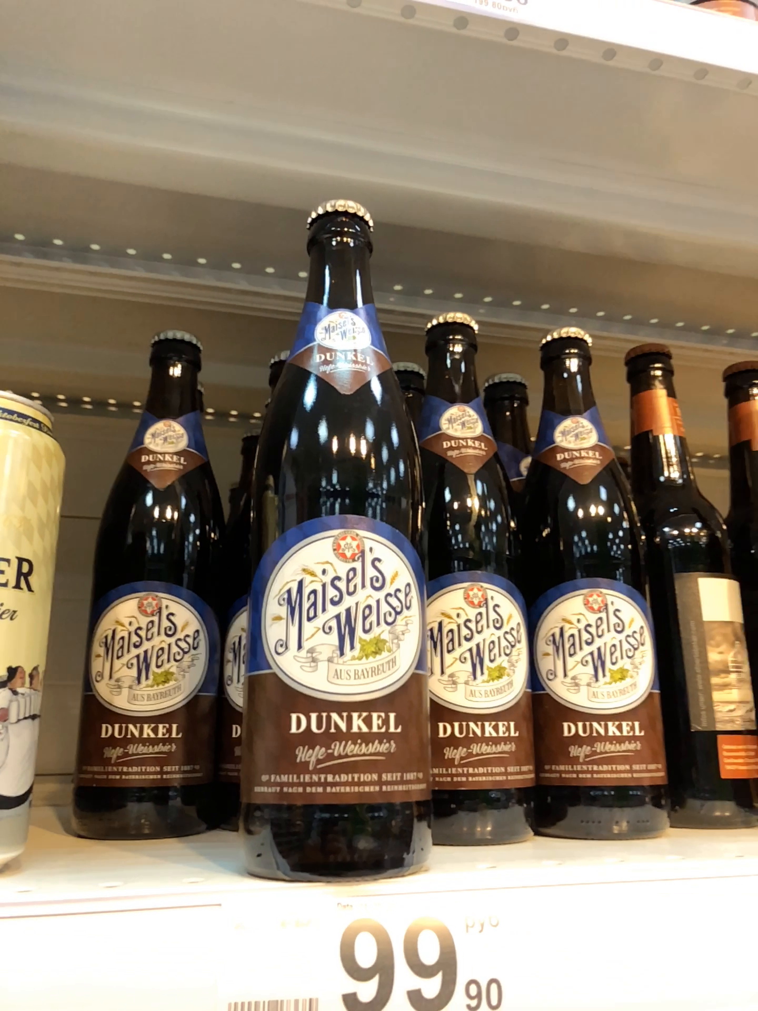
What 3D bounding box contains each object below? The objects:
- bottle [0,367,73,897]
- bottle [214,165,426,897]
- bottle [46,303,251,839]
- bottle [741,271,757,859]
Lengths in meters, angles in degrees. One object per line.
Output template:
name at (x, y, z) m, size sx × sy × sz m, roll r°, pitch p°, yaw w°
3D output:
bottle at (-0.159, 0.044, 0.309) m, size 0.069 × 0.168 × 0.067 m, roll 0°, pitch -16°, yaw 0°
bottle at (-0.019, 0.002, 0.326) m, size 0.065 × 0.264 × 0.066 m, roll 0°, pitch -16°, yaw 0°
bottle at (-0.113, 0.031, 0.445) m, size 0.070 × 0.263 × 0.082 m, roll 1°, pitch -16°, yaw -2°
bottle at (0.244, 0.023, 0.418) m, size 0.065 × 0.275 × 0.066 m, roll 0°, pitch -16°, yaw 0°
